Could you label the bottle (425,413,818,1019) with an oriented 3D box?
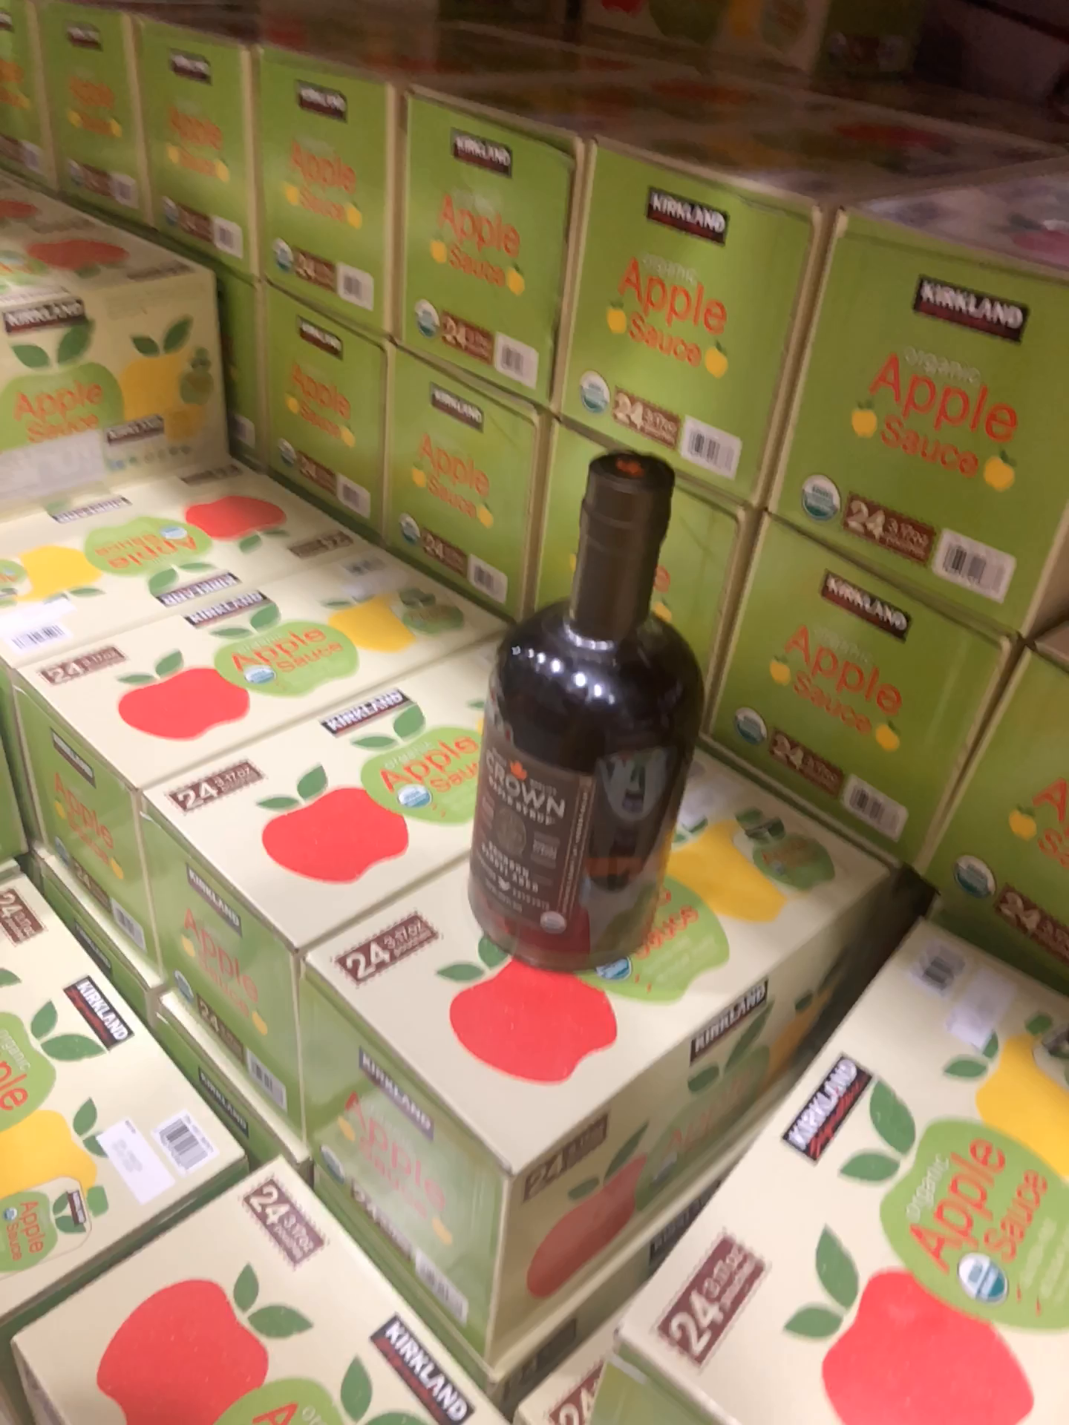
[{"bbox_3d":[0.027,0.004,0.498,0.100,0.219,0.090,32,42,30],"label":"bottle"}]
